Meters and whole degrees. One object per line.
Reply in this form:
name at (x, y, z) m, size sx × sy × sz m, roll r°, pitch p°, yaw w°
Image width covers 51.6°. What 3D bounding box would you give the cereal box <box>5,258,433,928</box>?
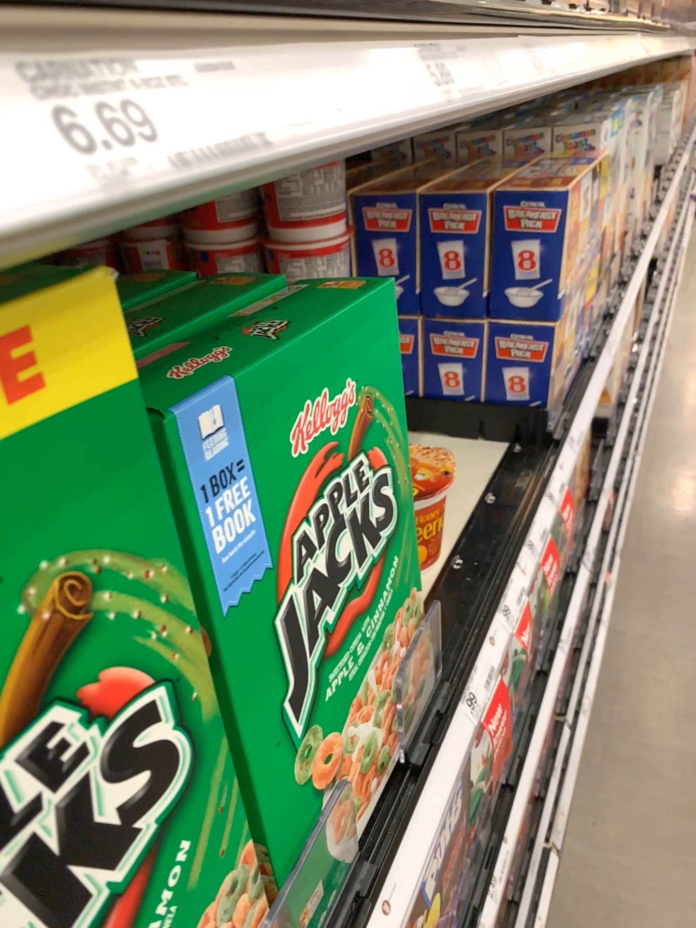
cereal box at (-0.028, 0.064, 0.371) m, size 0.060 × 0.289 × 0.201 m, roll 4°, pitch 28°, yaw 25°
